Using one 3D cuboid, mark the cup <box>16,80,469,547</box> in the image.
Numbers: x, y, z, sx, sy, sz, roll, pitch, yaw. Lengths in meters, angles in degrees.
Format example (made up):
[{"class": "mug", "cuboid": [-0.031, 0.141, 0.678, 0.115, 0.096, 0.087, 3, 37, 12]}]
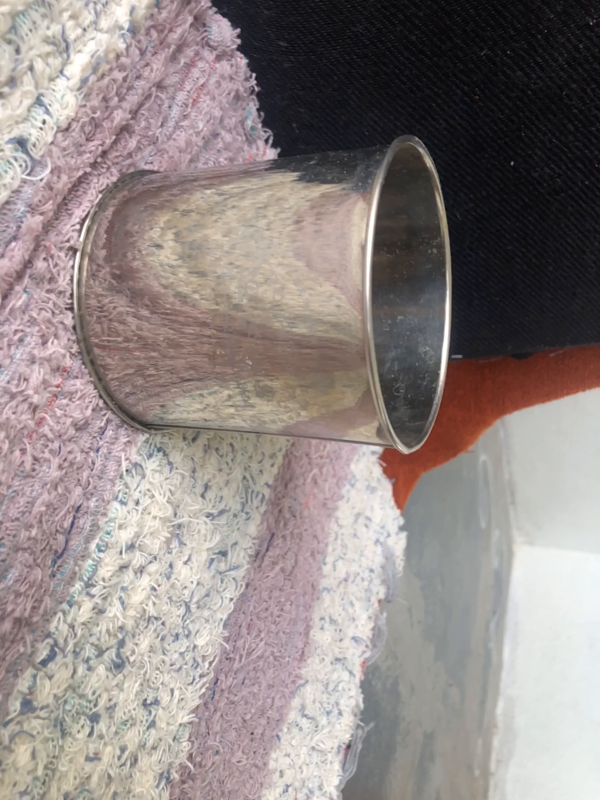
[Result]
[{"class": "cup", "cuboid": [-0.002, -0.020, 0.189, 0.090, 0.079, 0.080, 65, 35, -49]}]
